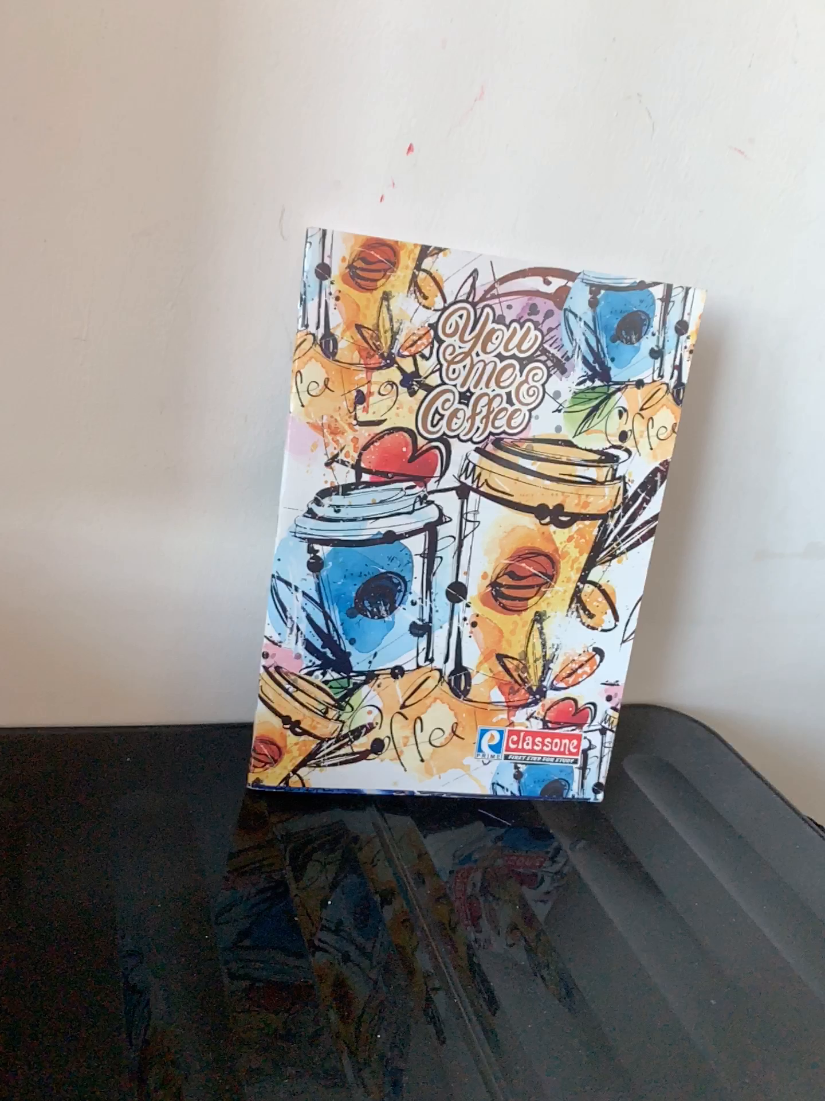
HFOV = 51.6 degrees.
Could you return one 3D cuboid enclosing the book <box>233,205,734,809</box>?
[{"bbox_3d":[0.031,-0.008,0.471,0.220,0.299,0.050,6,13,-15],"label":"book"}]
